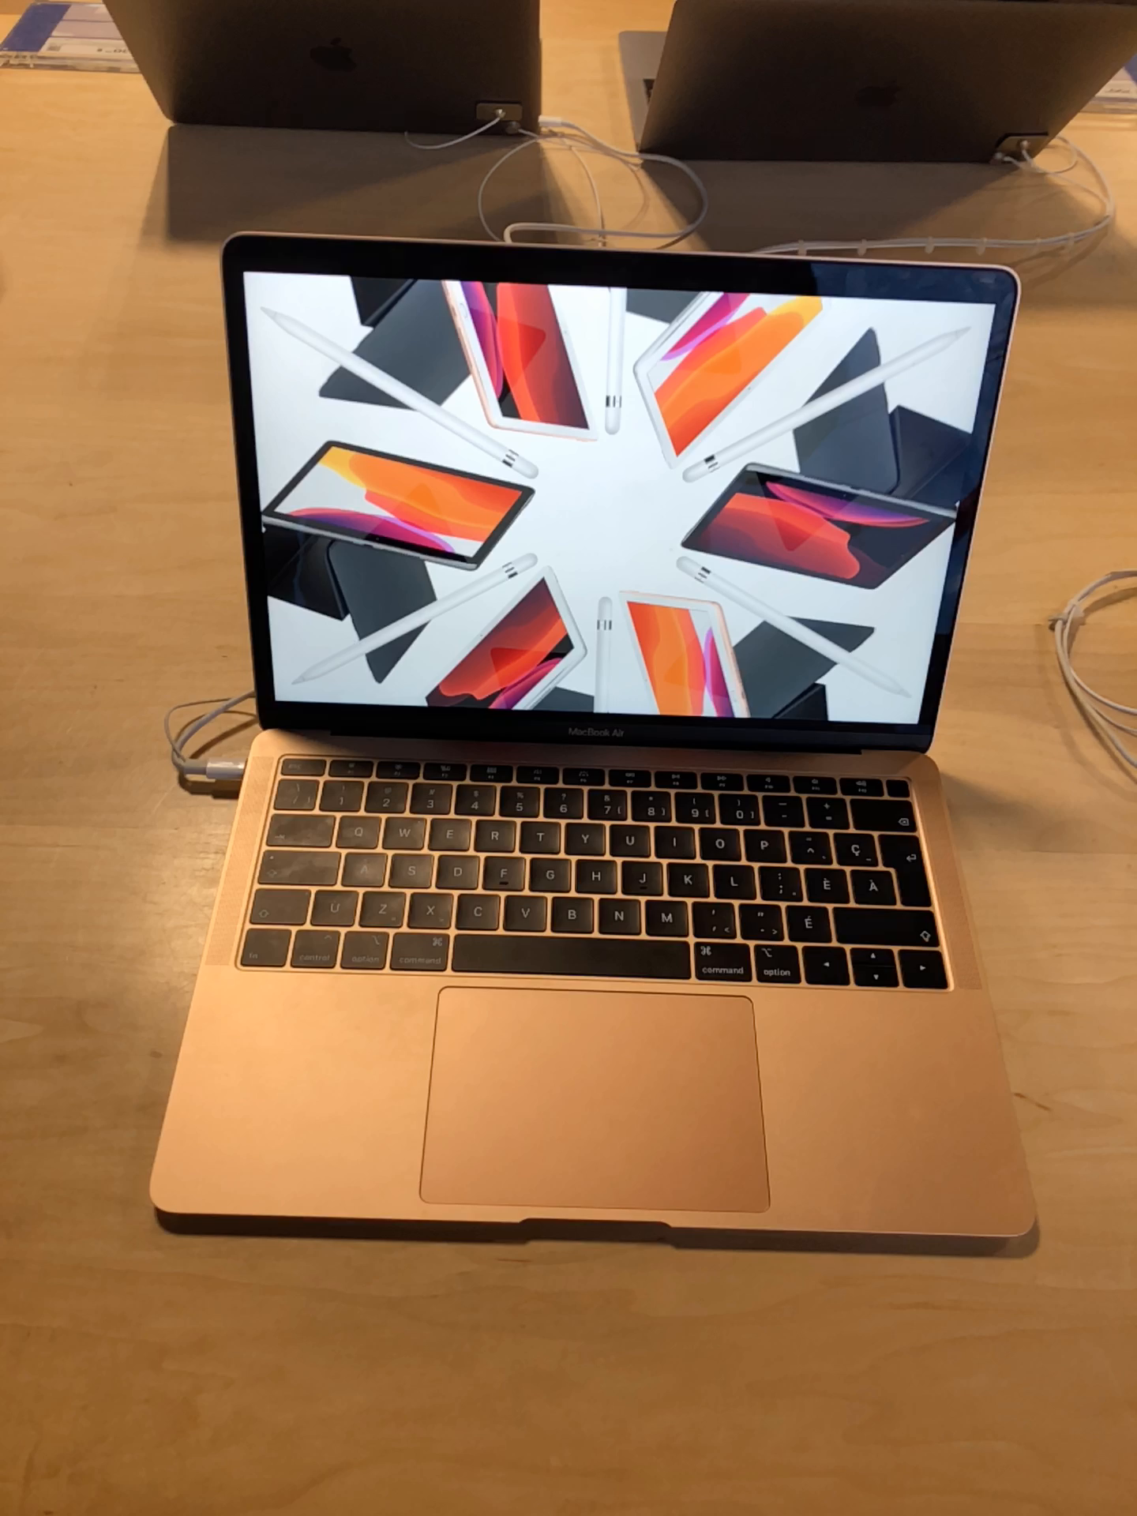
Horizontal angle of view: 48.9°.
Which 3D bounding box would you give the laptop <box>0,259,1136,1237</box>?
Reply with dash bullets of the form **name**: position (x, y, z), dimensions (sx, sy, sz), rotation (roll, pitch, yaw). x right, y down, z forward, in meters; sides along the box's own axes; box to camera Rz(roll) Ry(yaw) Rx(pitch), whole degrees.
- **laptop**: position (0.019, -0.013, 0.439), dimensions (0.291, 0.183, 0.284), rotation (2, 49, 0)
